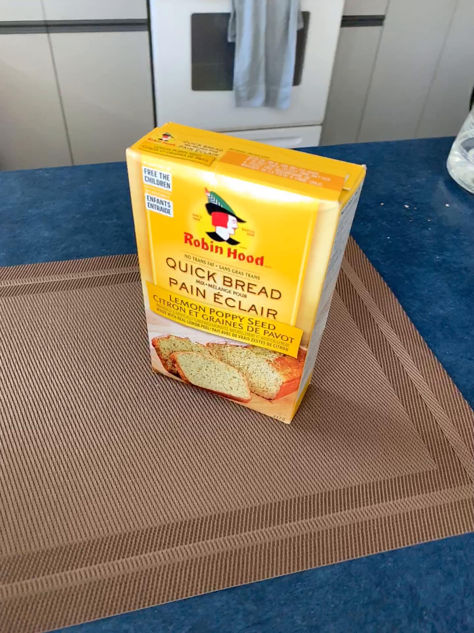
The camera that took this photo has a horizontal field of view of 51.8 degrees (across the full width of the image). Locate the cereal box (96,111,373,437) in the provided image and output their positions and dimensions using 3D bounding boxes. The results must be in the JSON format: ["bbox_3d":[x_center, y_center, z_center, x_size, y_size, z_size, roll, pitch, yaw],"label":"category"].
[{"bbox_3d":[-0.007,-0.015,0.300,0.130,0.178,0.040,19,46,15],"label":"cereal box"}]
